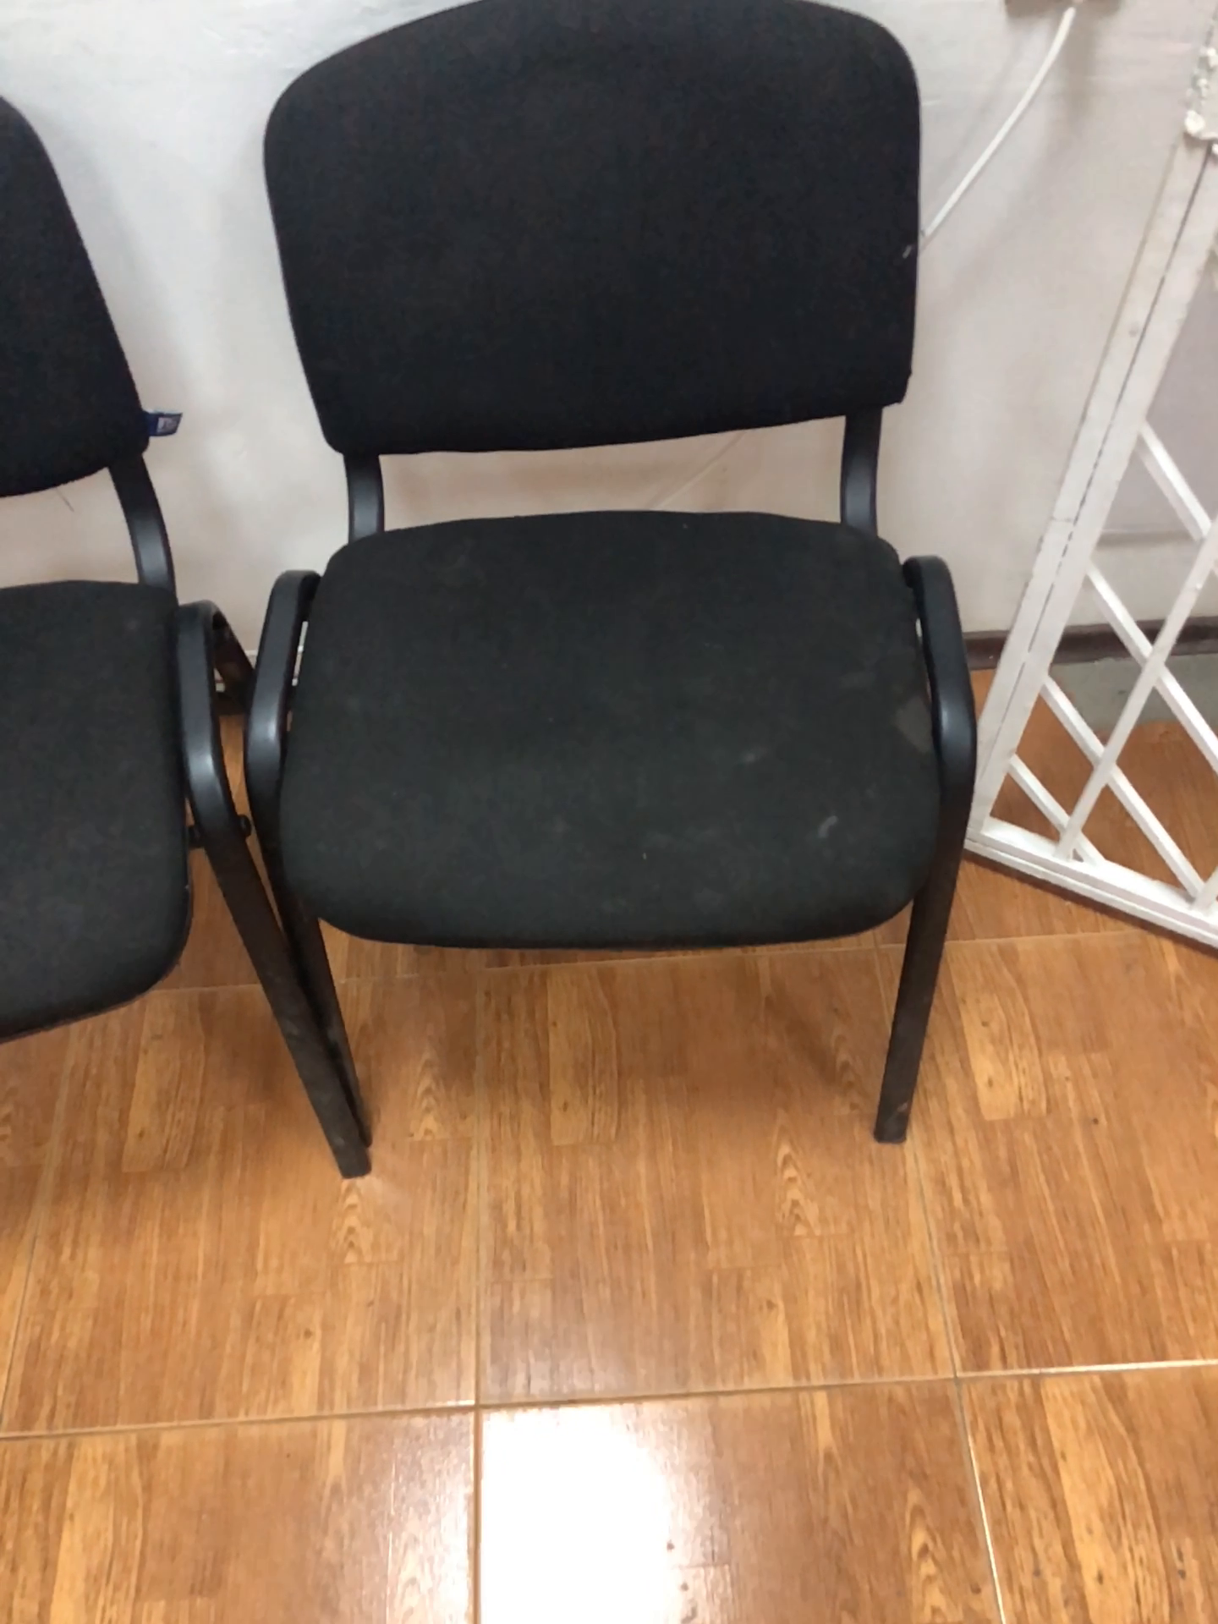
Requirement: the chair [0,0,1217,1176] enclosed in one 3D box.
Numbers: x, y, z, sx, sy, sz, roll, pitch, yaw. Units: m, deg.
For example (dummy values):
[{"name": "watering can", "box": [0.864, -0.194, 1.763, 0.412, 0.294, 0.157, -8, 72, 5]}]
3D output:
[{"name": "chair", "box": [0.006, -0.138, 1.049, 0.570, 0.688, 0.622, -1, 56, 1]}]
